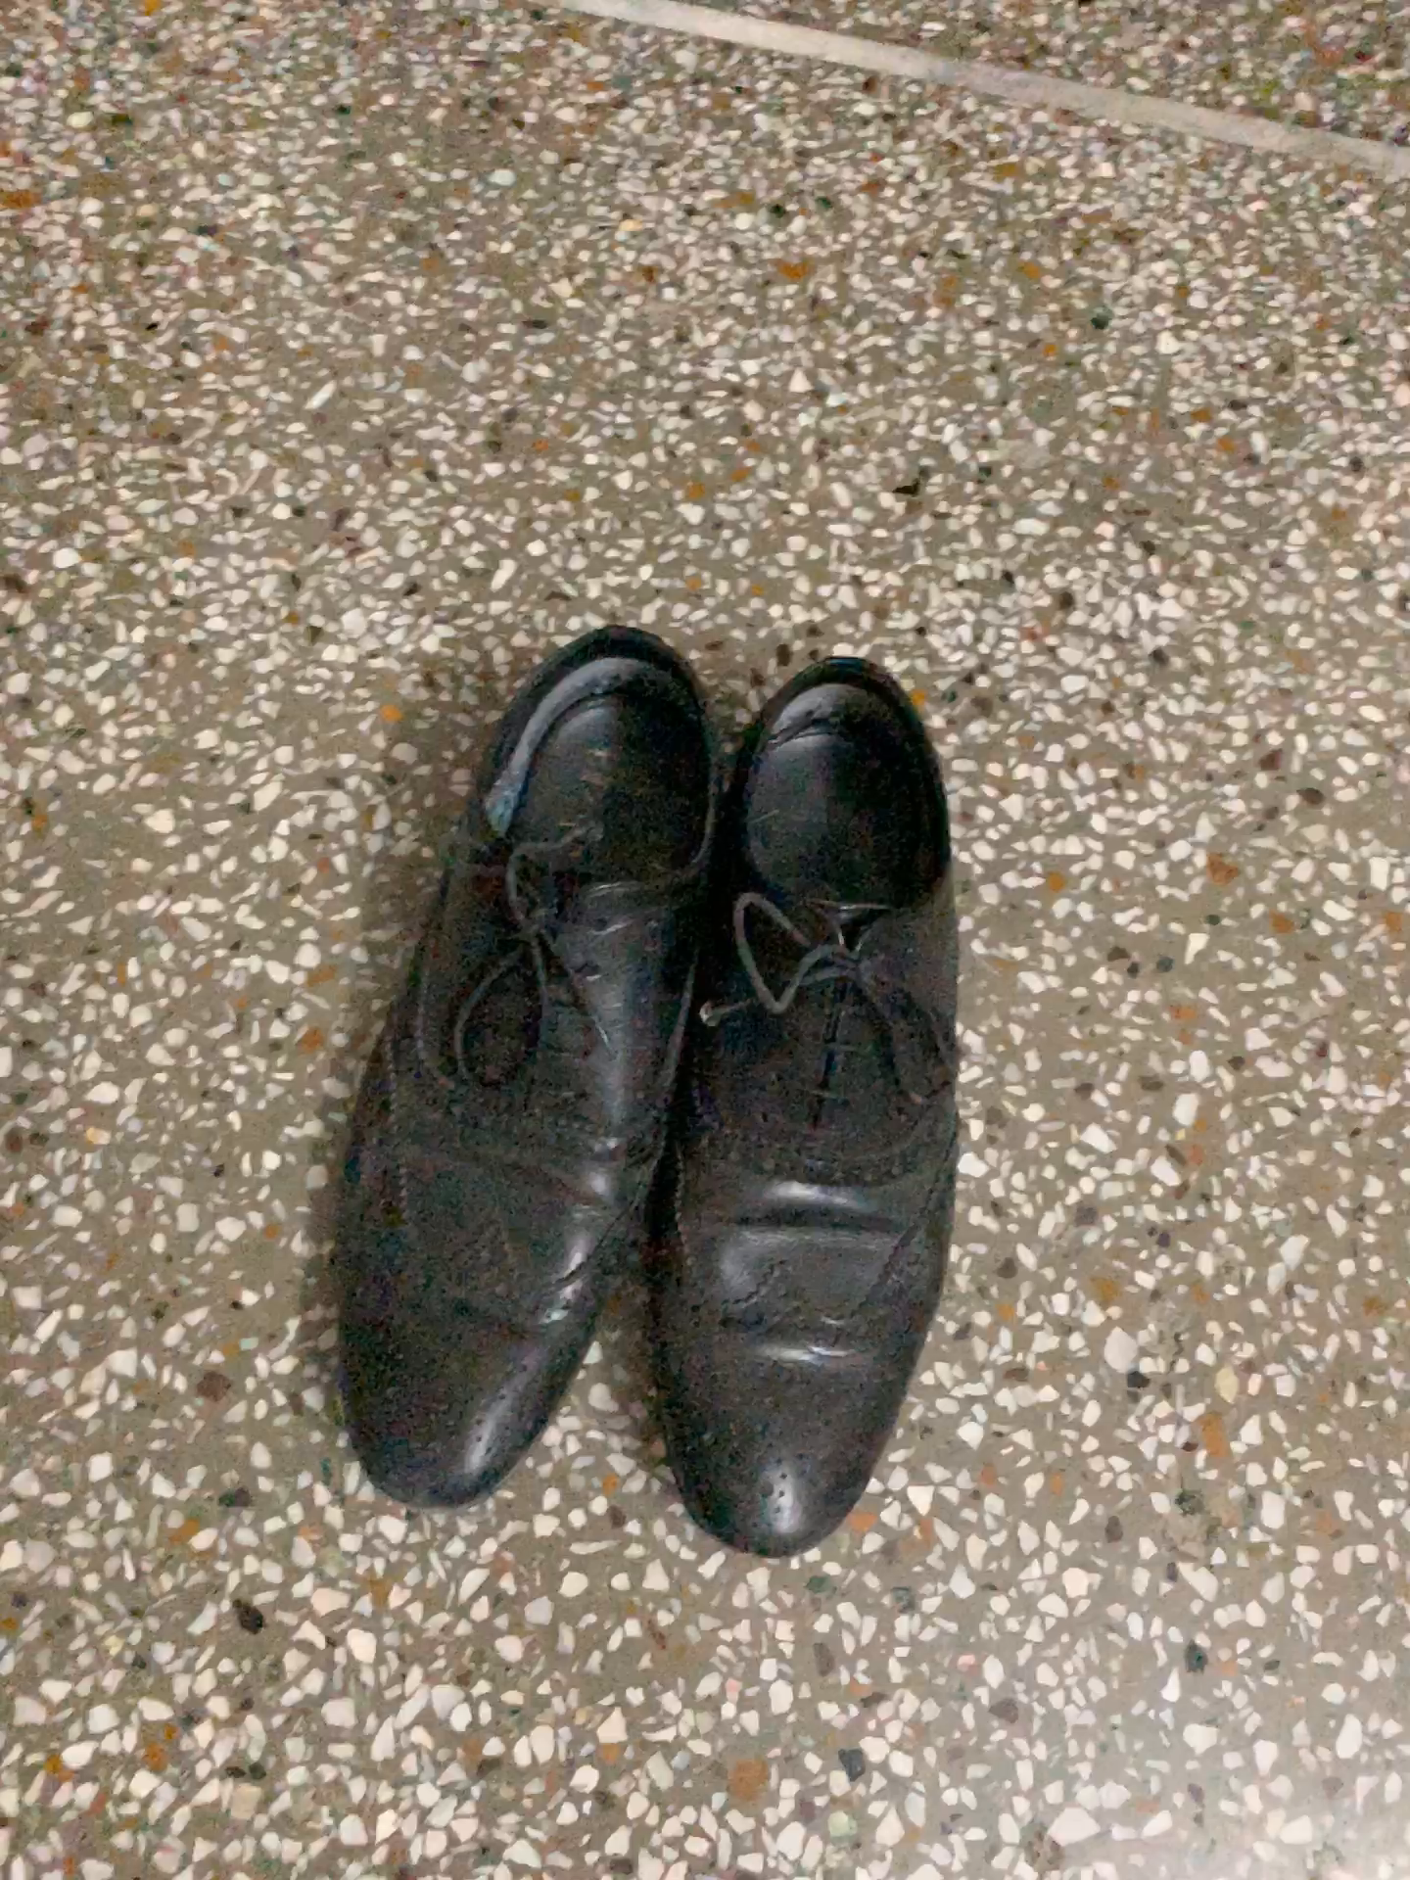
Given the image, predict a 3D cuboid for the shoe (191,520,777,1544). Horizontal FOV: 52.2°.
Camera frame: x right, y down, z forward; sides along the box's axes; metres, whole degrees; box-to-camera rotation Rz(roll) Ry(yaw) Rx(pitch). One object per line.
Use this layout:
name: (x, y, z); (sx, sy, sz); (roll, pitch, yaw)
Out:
shoe: (-0.061, 0.026, 0.498); (0.100, 0.100, 0.319); (13, 69, 1)

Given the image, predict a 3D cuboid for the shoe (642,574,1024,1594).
shoe: (0.045, 0.043, 0.497); (0.100, 0.100, 0.319); (6, 69, -1)
